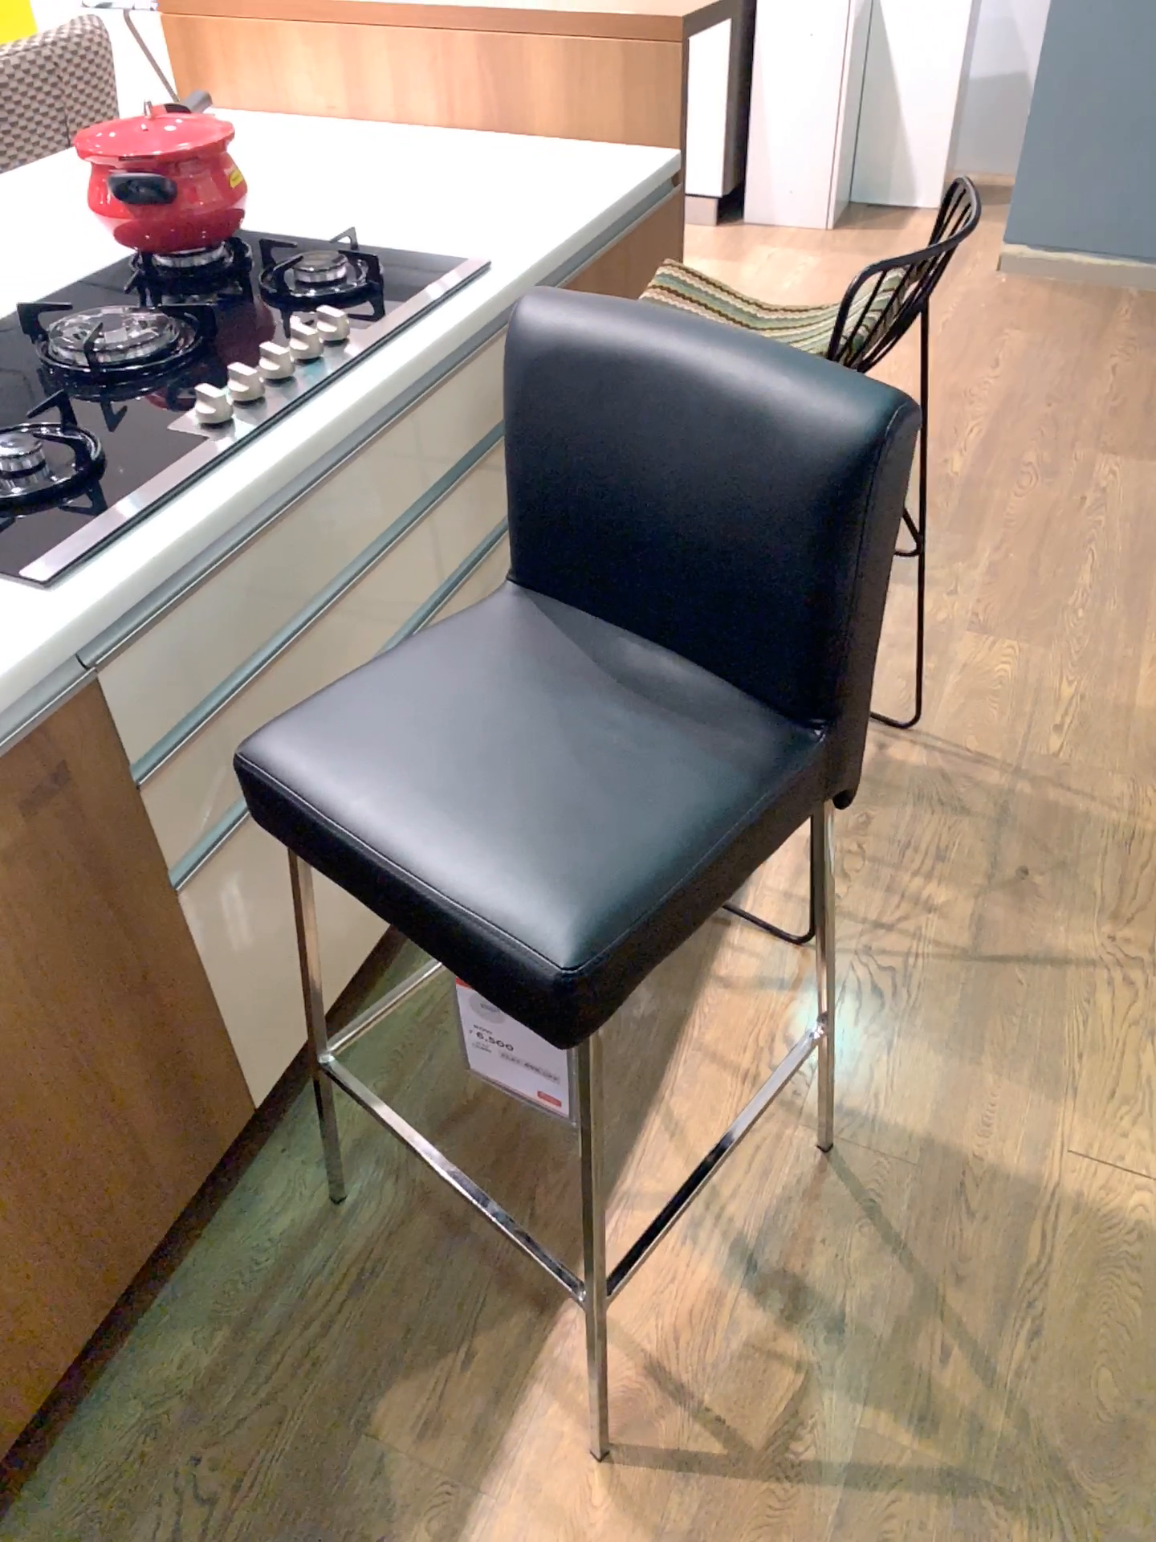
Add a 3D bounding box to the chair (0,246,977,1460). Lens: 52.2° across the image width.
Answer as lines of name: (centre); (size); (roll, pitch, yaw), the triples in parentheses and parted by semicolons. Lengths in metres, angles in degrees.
chair: (-0.043, 0.116, 1.204); (0.501, 1.026, 0.521); (28, 49, 30)
